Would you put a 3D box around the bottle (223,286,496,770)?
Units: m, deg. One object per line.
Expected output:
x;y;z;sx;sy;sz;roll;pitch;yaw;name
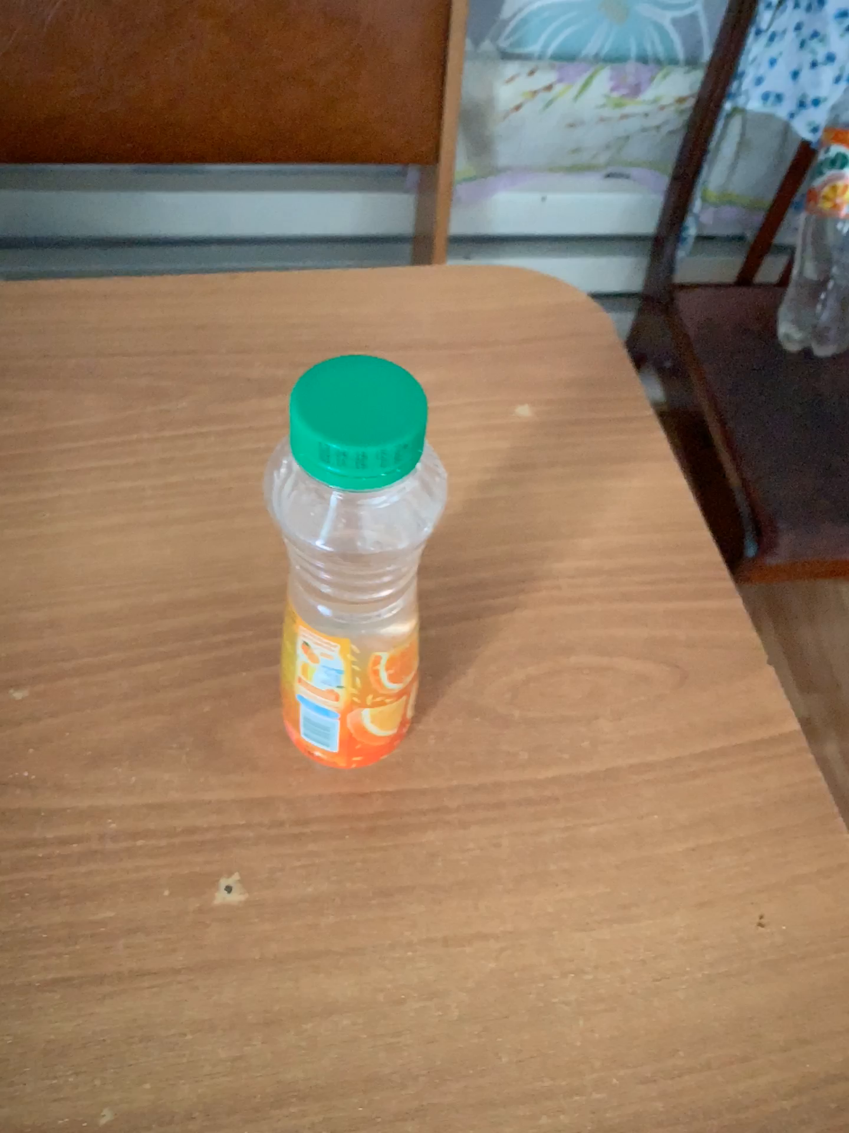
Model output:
-0.029;0.002;0.328;0.070;0.201;0.071;3;55;-5;bottle
